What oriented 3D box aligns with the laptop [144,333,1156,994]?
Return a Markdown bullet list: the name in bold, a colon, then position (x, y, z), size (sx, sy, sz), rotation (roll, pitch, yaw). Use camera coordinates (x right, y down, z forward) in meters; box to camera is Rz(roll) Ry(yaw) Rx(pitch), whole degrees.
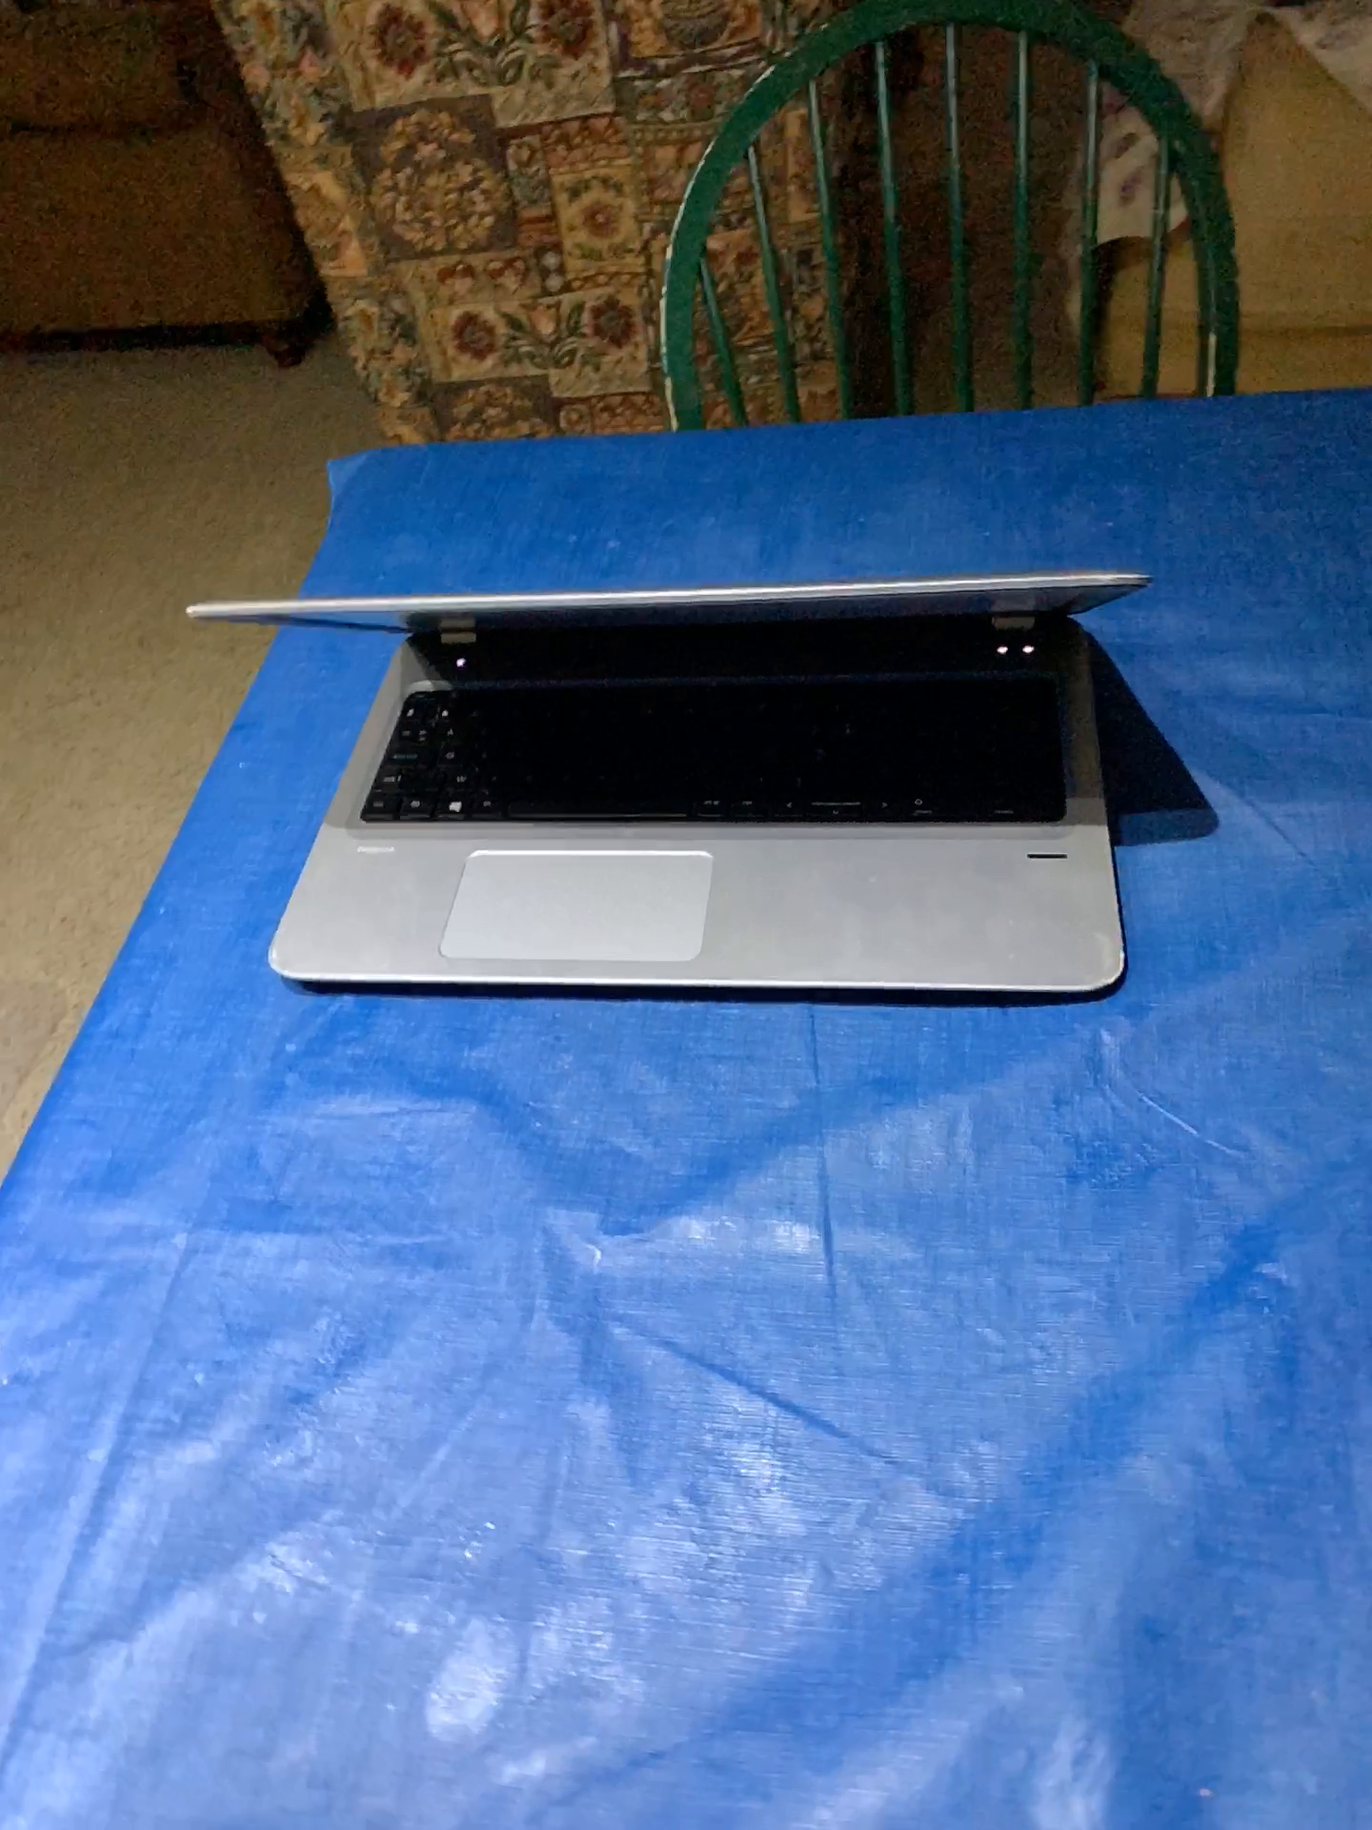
- **laptop**: position (-0.001, -0.116, 0.634), size (0.365, 0.156, 0.255), rotation (0, 47, 11)
